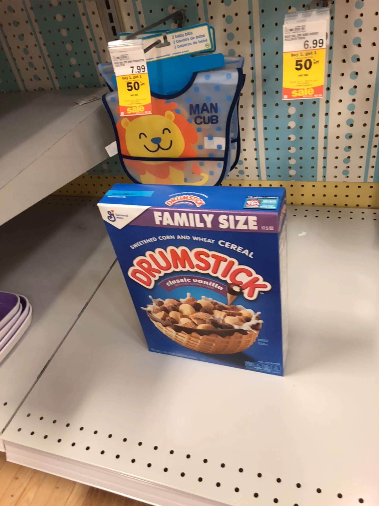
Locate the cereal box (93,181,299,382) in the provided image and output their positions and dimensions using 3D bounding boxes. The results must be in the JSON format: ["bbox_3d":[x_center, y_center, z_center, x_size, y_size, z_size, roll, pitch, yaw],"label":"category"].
[{"bbox_3d":[0.027,0.047,0.614,0.250,0.299,0.070,5,40,21],"label":"cereal box"}]
